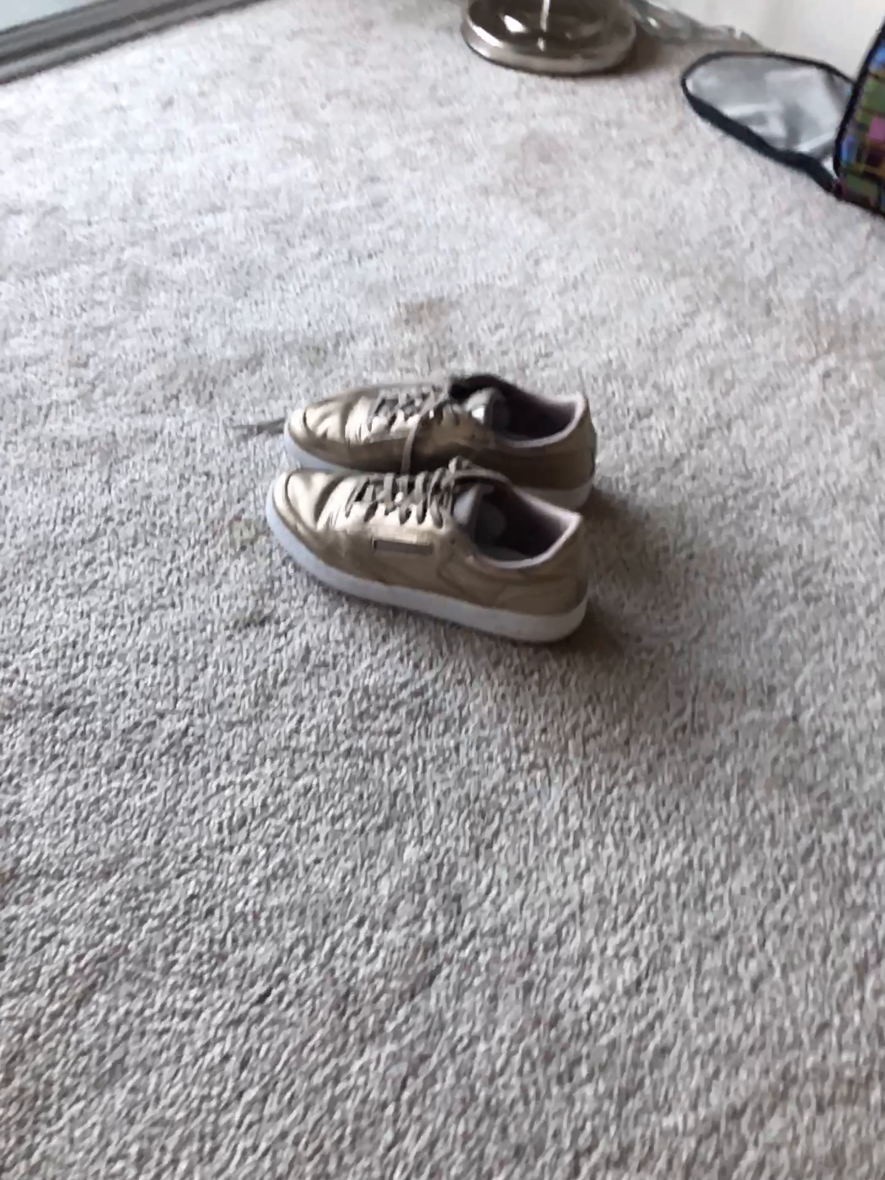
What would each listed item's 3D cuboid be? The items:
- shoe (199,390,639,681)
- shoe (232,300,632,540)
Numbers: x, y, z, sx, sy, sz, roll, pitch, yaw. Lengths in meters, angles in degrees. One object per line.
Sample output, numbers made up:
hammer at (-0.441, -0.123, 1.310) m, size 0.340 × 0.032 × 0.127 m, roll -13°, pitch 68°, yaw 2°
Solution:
shoe at (-0.017, -0.044, 0.691) m, size 0.280 × 0.070 × 0.110 m, roll 19°, pitch 50°, yaw 11°
shoe at (-0.007, -0.135, 0.753) m, size 0.280 × 0.070 × 0.110 m, roll 15°, pitch 49°, yaw 7°
